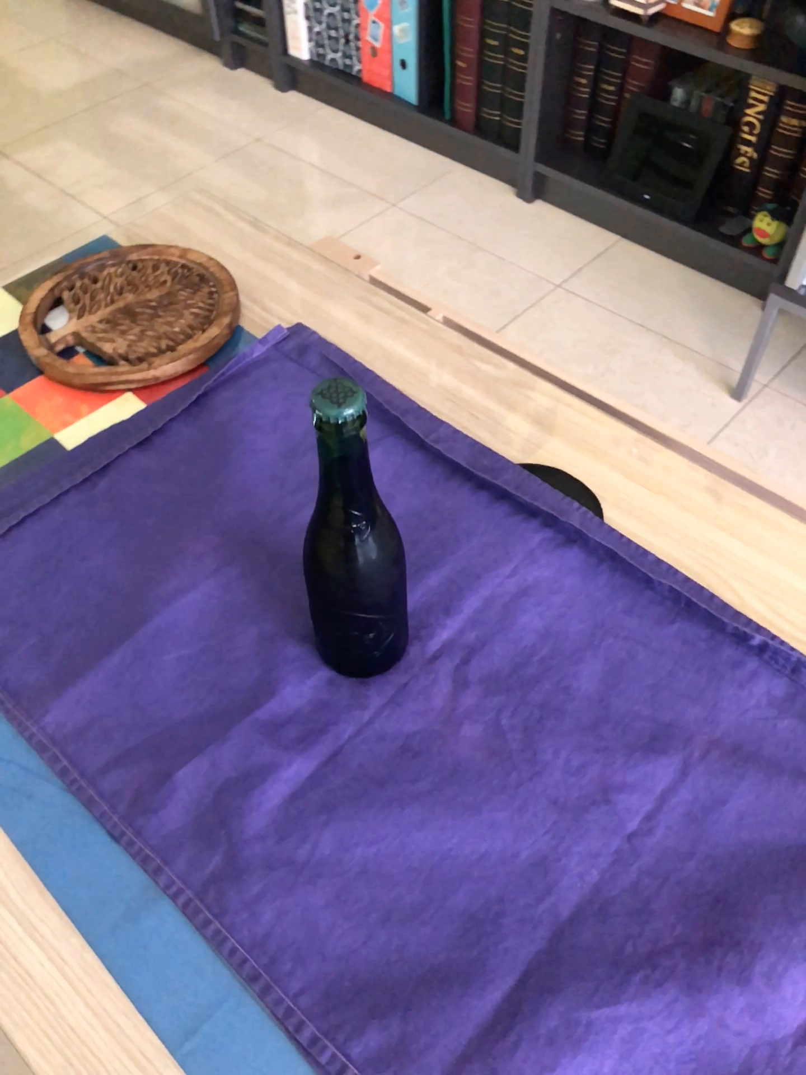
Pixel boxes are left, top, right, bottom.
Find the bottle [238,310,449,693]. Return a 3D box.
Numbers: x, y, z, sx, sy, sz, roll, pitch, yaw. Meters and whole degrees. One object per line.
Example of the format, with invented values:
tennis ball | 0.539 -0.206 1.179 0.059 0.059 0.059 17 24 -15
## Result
bottle | -0.027 -0.009 0.512 0.080 0.219 0.070 -22 53 -15
